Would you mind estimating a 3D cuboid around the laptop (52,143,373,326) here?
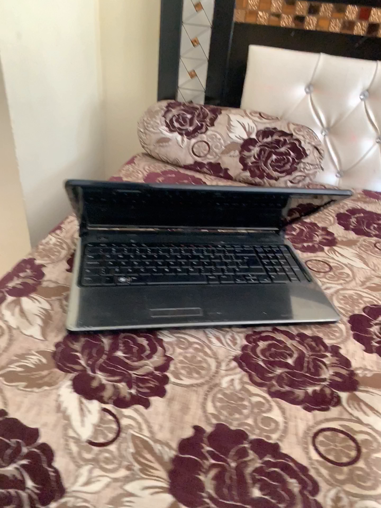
[{"bbox_3d":[0.013,-0.039,0.563,0.363,0.154,0.222,0,34,-10],"label":"laptop"}]
